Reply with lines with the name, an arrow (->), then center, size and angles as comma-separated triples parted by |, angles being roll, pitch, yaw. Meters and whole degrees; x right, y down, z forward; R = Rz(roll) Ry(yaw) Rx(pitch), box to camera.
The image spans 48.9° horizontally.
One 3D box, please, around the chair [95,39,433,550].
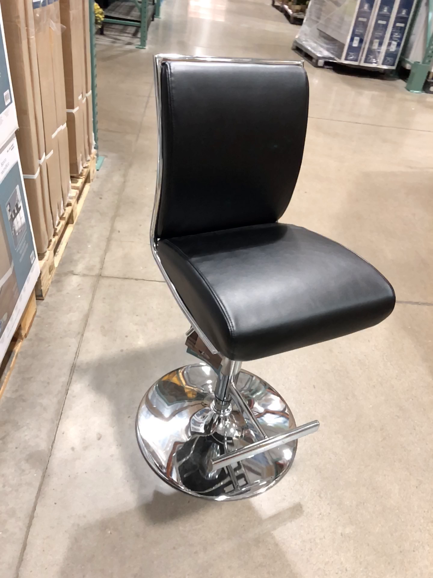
chair -> 0.067, 0.007, 1.122 | 0.531, 0.946, 0.541 | -13, 41, -29
